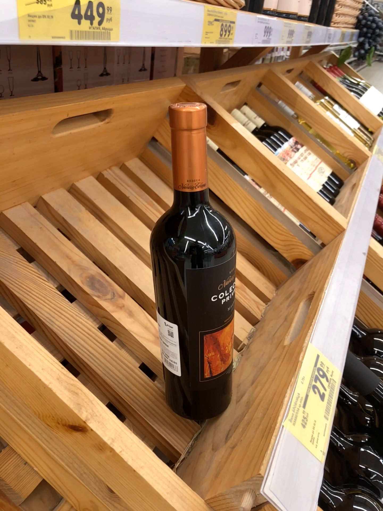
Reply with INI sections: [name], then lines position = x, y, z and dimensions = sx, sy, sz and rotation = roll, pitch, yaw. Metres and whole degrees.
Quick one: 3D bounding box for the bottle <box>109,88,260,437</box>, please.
[bottle]
position = 0.005, 0.012, 0.373
dimensions = 0.080, 0.288, 0.087
rotation = -3, 27, 1
